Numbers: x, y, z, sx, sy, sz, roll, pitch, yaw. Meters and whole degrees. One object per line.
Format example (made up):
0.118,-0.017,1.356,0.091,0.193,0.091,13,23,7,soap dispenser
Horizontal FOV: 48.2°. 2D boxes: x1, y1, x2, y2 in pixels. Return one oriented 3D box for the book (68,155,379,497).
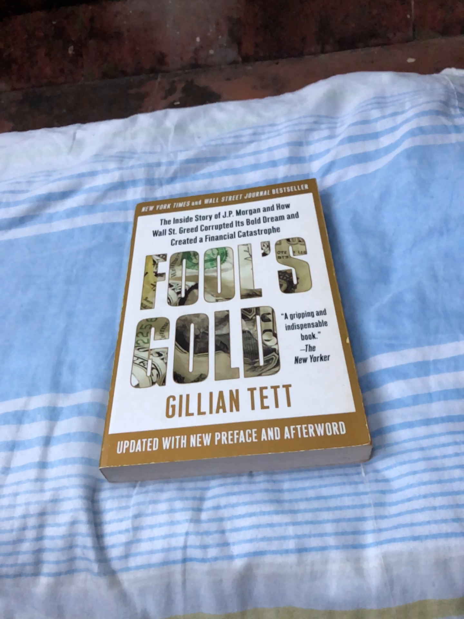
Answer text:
-0.007,-0.007,0.337,0.150,0.040,0.231,-7,49,6,book
